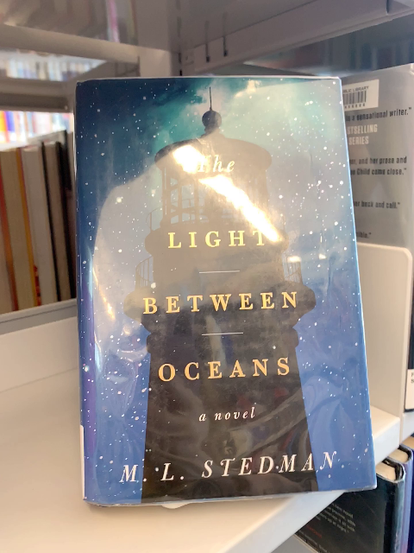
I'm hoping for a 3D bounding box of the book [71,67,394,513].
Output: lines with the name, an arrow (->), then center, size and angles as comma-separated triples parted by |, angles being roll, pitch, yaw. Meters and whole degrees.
book -> 0.009, 0.001, 0.246 | 0.155, 0.225, 0.042 | -3, -6, -3
